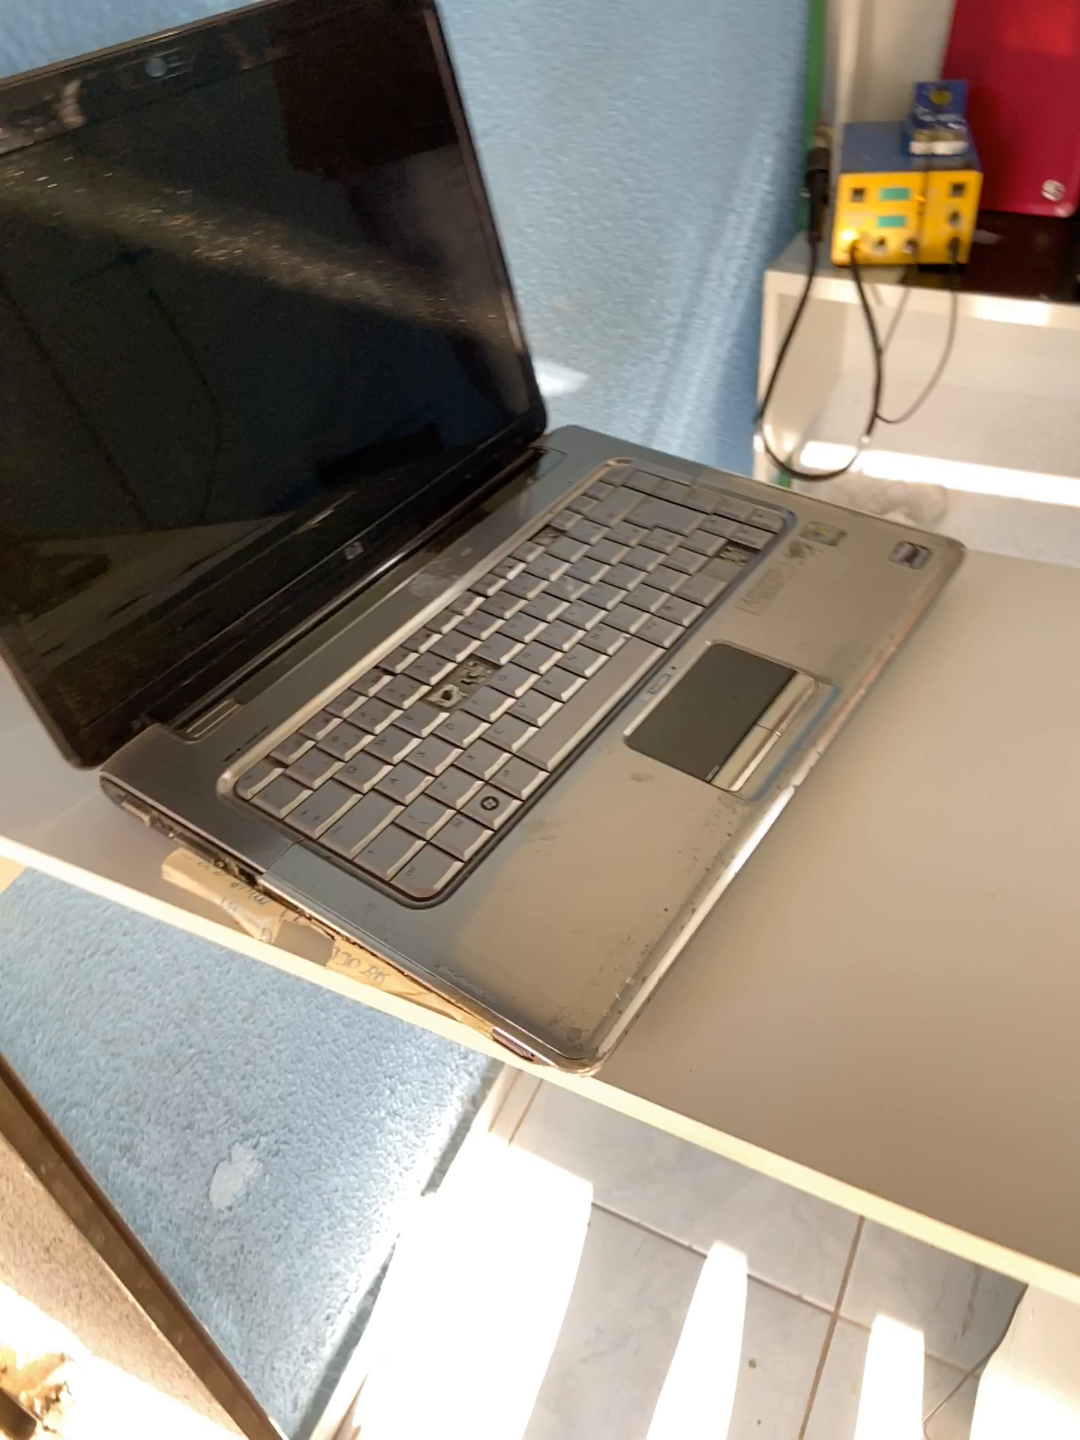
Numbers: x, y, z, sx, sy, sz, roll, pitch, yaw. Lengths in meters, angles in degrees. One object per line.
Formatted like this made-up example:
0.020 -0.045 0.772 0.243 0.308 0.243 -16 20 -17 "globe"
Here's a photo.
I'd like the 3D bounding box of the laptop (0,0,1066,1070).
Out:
-0.029 -0.133 0.463 0.329 0.233 0.352 23 49 28 "laptop"
